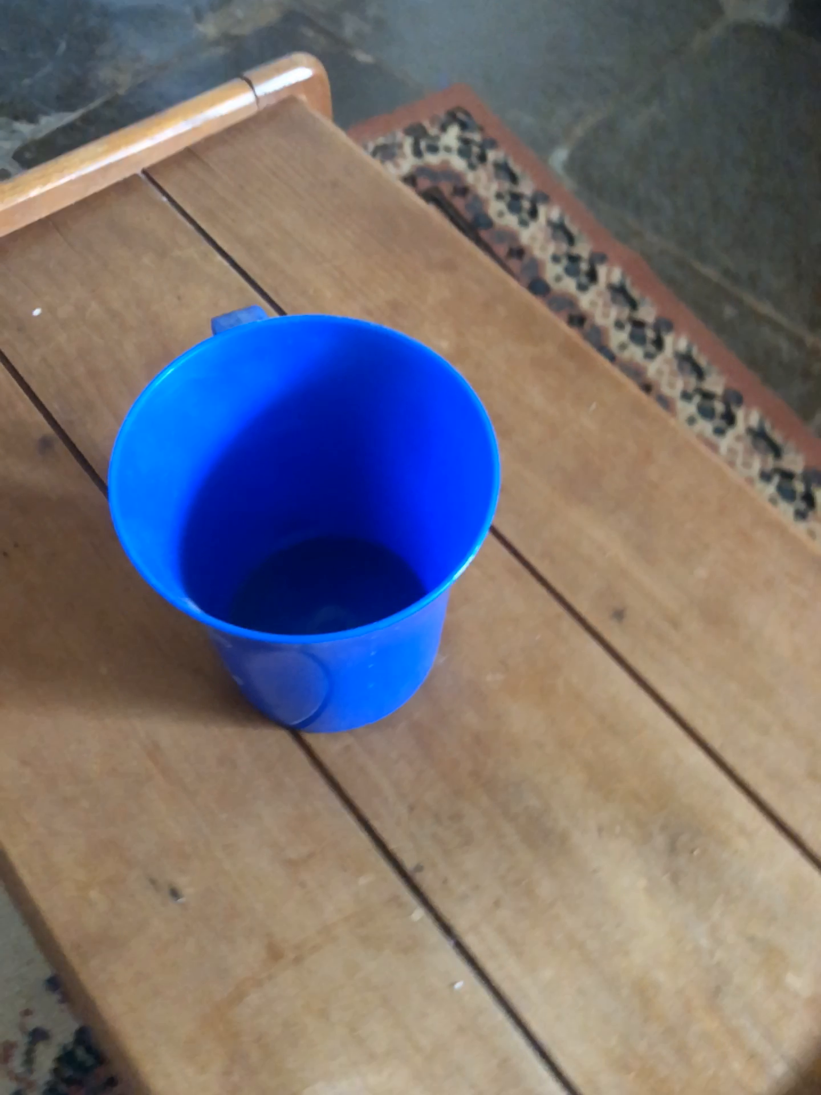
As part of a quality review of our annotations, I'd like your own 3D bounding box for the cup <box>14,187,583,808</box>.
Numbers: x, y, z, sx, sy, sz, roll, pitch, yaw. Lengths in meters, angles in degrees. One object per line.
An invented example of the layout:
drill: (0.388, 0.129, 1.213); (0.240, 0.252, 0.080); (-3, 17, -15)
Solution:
cup: (-0.033, -0.012, 0.266); (0.100, 0.100, 0.120); (-21, 65, -13)
